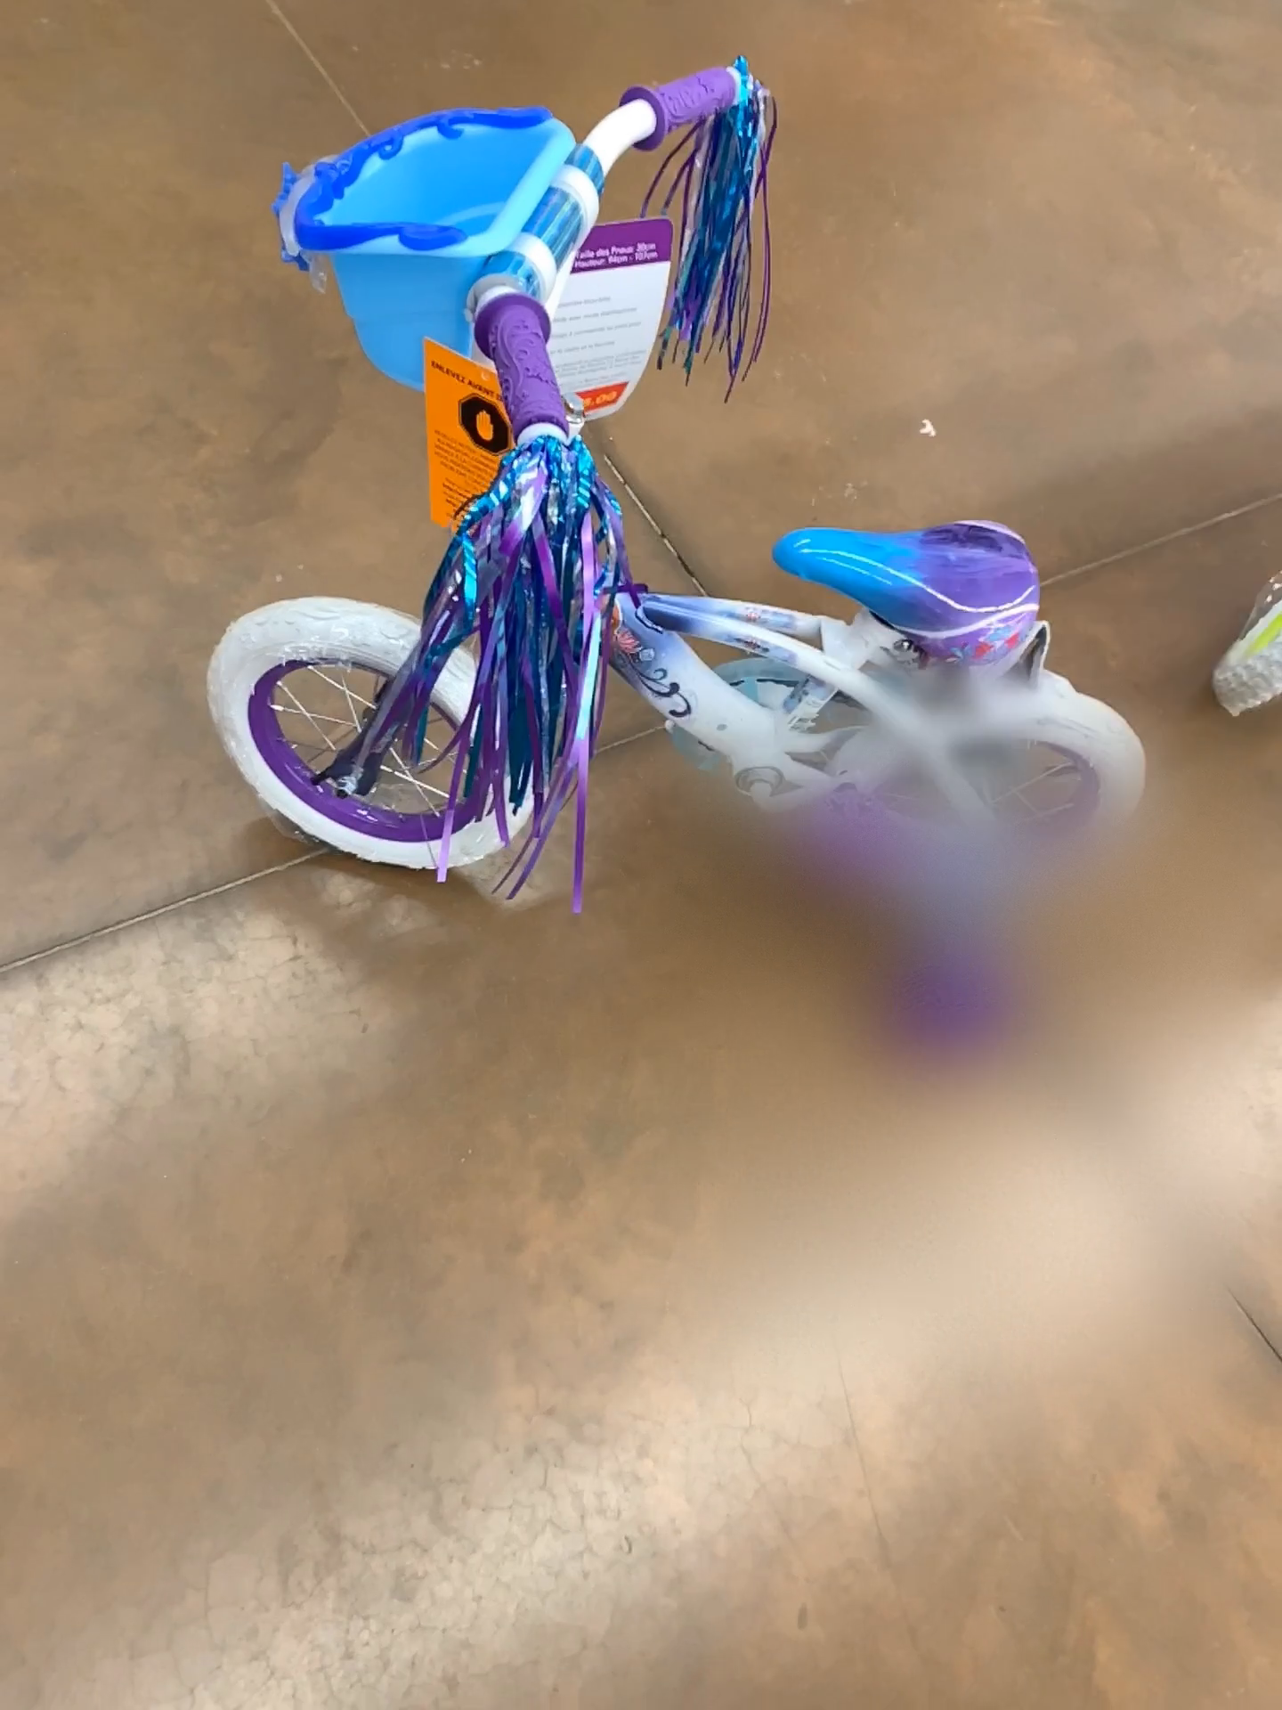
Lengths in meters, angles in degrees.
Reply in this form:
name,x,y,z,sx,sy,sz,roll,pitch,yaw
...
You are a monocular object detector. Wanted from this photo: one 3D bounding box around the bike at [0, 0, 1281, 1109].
name,x,y,z,sx,sy,sz,roll,pitch,yaw
bike,0.091,-0.177,0.944,0.804,0.634,0.441,8,57,-10
